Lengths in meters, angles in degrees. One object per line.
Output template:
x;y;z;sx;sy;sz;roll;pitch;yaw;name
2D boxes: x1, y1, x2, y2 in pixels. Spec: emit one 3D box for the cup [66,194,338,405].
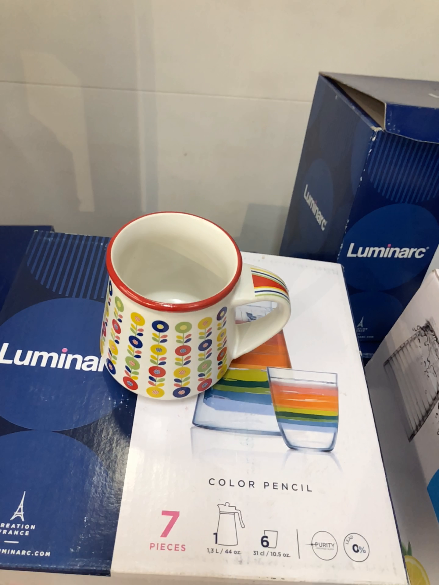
-0.010;0.006;0.292;0.130;0.089;0.081;4;48;-3;cup
